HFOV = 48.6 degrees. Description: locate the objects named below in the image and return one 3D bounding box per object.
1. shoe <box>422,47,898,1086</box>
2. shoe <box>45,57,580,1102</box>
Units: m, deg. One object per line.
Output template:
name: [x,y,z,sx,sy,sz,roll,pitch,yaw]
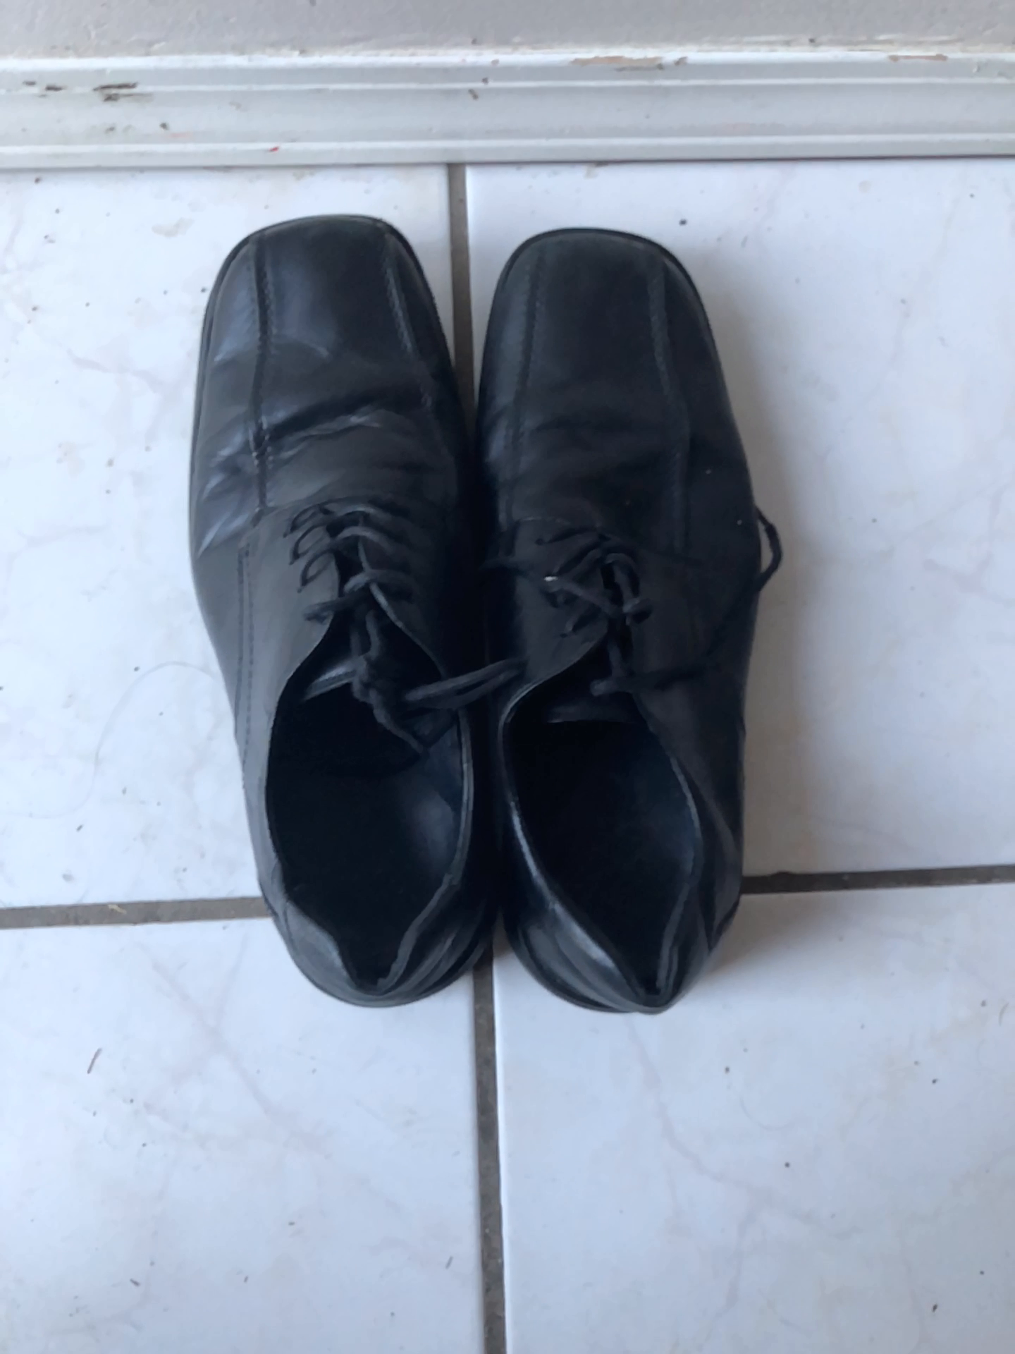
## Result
shoe: [0.039,-0.034,0.365,0.110,0.100,0.290,-4,84,-2]
shoe: [-0.060,-0.031,0.370,0.120,0.100,0.290,-7,84,-3]
